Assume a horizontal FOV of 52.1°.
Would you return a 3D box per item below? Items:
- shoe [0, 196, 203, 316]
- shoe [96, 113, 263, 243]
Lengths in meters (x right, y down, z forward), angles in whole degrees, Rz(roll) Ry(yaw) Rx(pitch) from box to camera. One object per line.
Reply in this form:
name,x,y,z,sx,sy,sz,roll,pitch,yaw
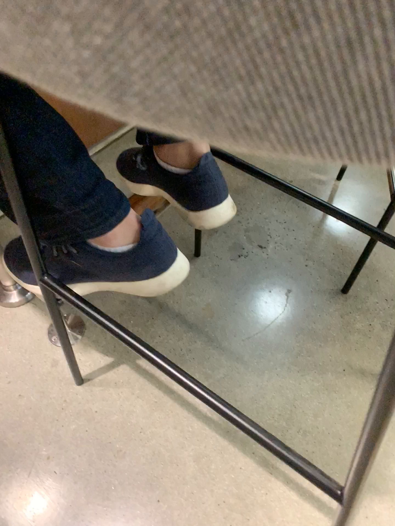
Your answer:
shoe,-0.158,-0.019,0.583,0.299,0.093,0.124,4,46,18
shoe,-0.041,-0.164,0.707,0.129,0.093,0.301,-29,45,-27
